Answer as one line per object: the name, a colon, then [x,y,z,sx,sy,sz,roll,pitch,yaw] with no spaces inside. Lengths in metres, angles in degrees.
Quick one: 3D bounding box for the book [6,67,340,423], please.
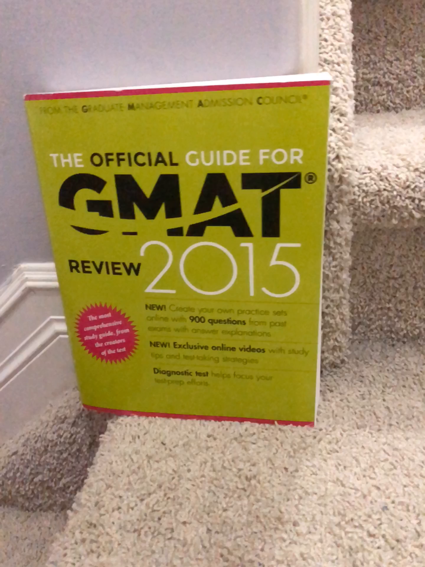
book: [-0.022,-0.017,0.390,0.236,0.277,0.040,0,23,11]
